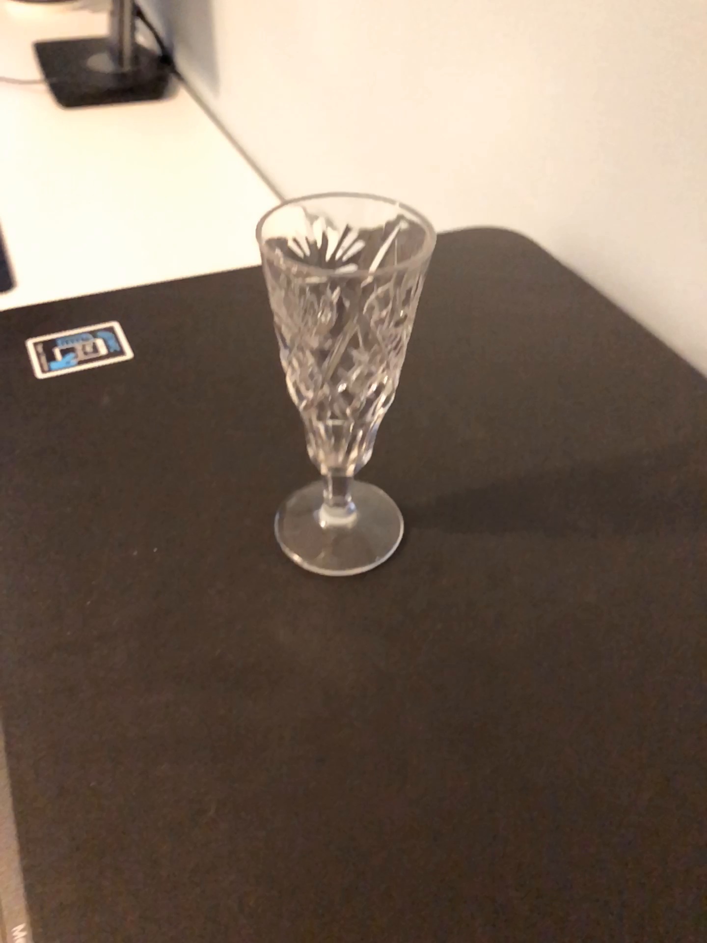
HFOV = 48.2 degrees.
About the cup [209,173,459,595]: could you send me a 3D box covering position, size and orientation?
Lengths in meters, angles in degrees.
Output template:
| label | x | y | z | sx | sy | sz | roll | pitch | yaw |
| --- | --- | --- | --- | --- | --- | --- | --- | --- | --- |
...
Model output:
| label | x | y | z | sx | sy | sz | roll | pitch | yaw |
| --- | --- | --- | --- | --- | --- | --- | --- | --- | --- |
| cup | -0.004 | -0.023 | 0.242 | 0.054 | 0.109 | 0.057 | 1 | 43 | -1 |
